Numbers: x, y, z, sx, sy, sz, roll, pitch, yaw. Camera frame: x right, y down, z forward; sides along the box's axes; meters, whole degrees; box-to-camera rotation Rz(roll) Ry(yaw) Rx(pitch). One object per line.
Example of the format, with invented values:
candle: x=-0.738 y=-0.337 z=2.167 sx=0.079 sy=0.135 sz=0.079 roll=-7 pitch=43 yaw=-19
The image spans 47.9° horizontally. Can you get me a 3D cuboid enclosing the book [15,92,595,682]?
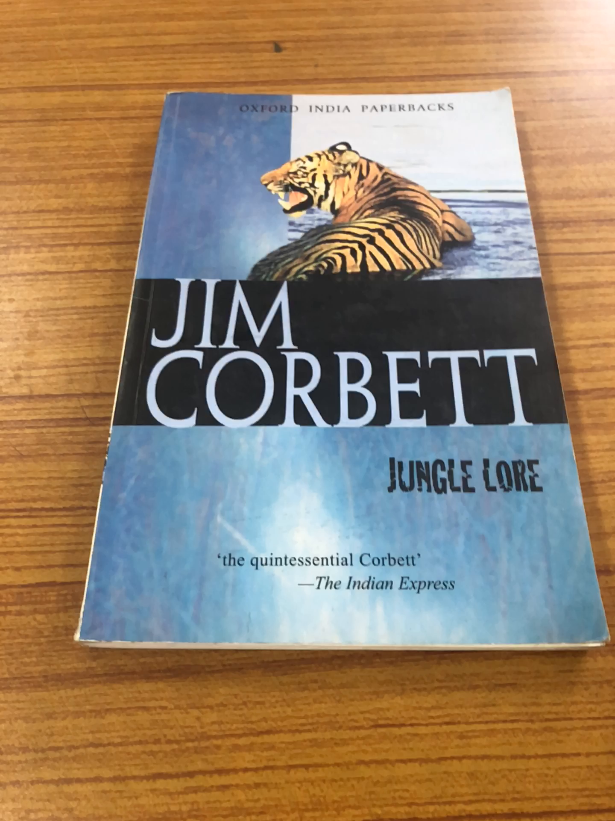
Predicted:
book: x=-0.001 y=-0.027 z=0.234 sx=0.150 sy=0.010 sz=0.220 roll=0 pitch=63 yaw=1
